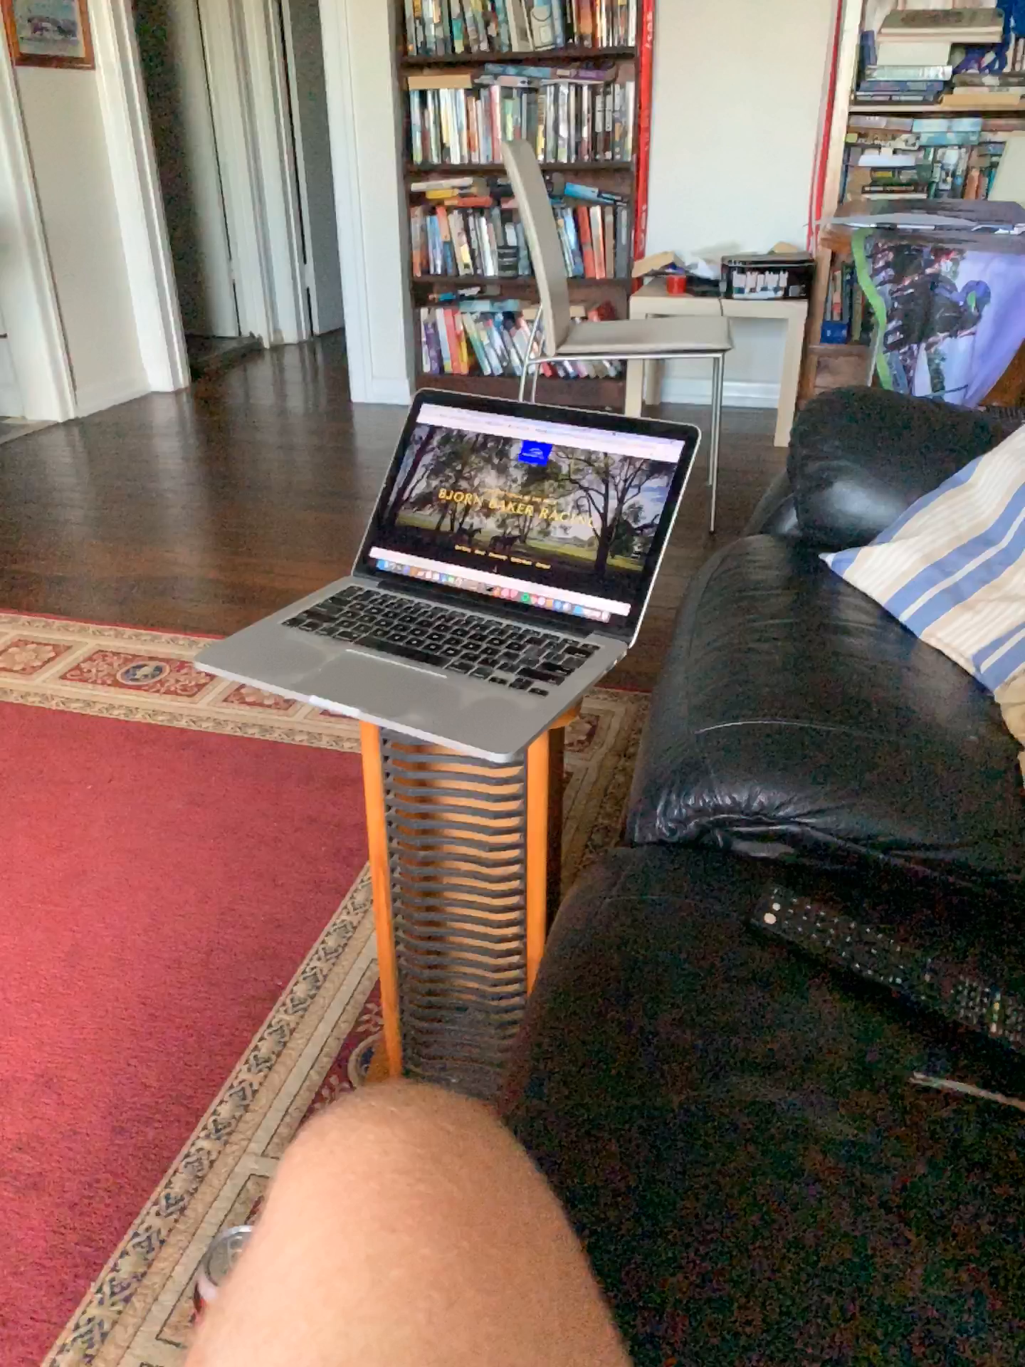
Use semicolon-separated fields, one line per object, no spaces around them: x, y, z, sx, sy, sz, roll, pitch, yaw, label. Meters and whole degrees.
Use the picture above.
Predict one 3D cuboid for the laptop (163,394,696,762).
-0.053;-0.121;0.910;0.313;0.160;0.341;16;31;27;laptop
